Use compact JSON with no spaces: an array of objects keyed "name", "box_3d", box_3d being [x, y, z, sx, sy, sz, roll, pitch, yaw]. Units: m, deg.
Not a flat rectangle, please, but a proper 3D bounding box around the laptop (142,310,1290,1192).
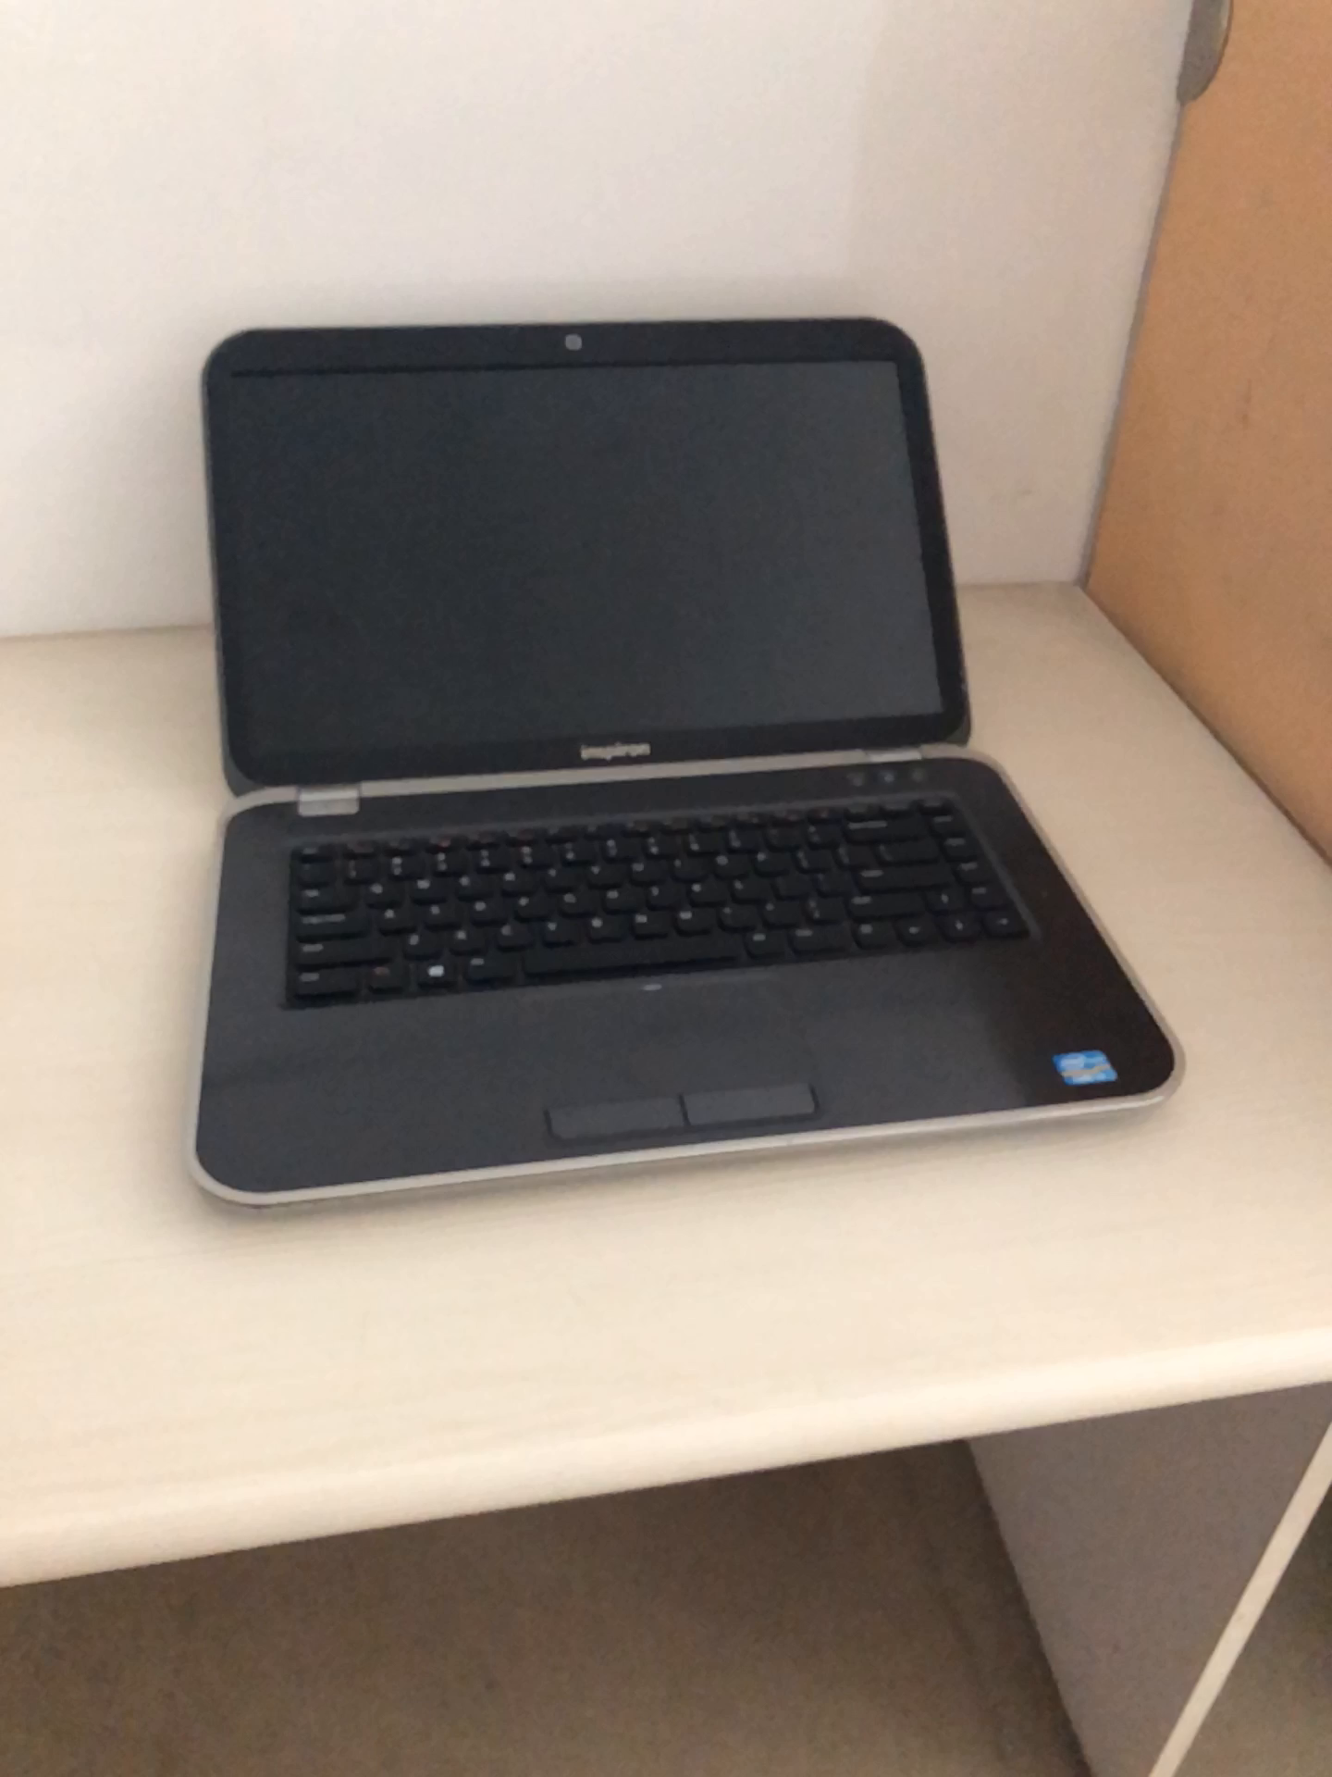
[{"name":"laptop","box_3d":[-0.014,-0.100,0.632,0.339,0.152,0.411,-5,39,-9]}]
